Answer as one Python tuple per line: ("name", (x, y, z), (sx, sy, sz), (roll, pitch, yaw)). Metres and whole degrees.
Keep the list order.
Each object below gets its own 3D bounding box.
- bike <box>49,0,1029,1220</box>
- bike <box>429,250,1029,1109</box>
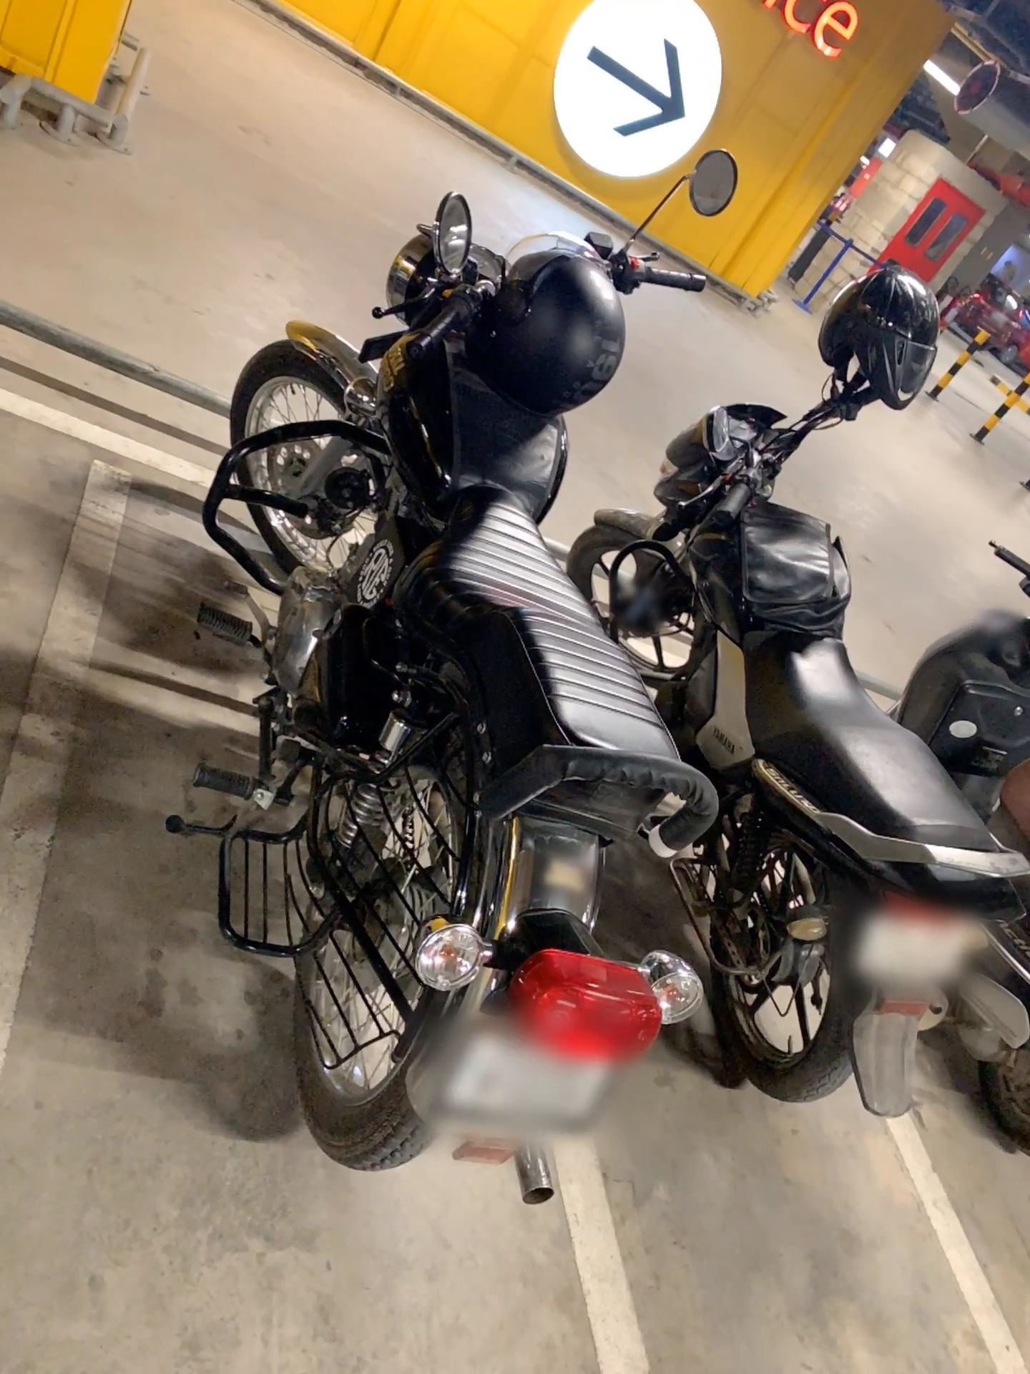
("bike", (-0.229, -0.299, 1.793), (0.765, 1.050, 1.829), (14, 36, -33))
("bike", (0.444, -0.123, 2.326), (0.599, 0.924, 1.724), (17, 33, -30))
